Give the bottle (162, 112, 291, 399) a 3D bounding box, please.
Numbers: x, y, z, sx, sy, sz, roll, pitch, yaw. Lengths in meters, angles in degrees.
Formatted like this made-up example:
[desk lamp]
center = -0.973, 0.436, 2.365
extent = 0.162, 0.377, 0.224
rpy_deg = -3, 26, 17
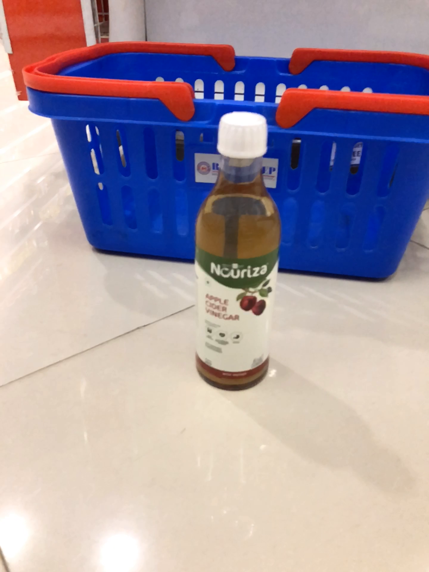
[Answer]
[bottle]
center = 0.010, -0.016, 0.379
extent = 0.080, 0.218, 0.071
rpy_deg = 5, 33, 5
